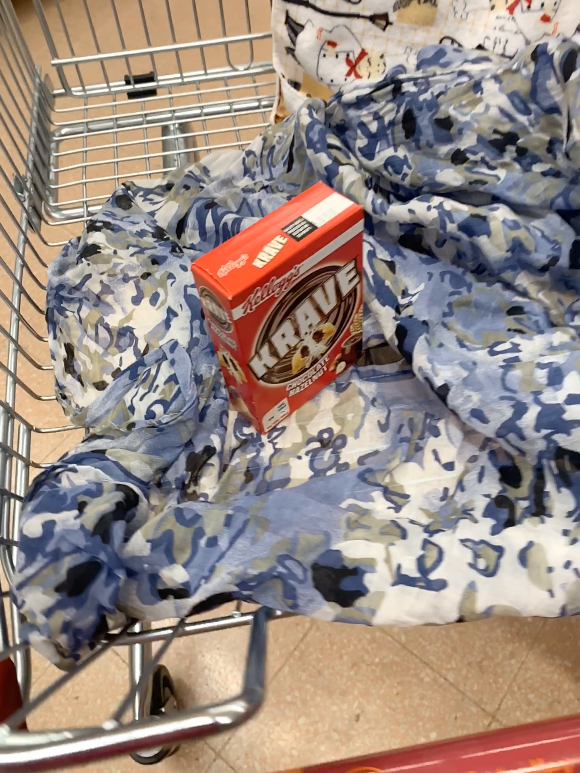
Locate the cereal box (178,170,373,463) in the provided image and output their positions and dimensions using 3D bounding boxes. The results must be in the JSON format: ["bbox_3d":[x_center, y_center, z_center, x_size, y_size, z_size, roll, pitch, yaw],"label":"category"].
[{"bbox_3d":[-0.001,-0.033,0.347,0.090,0.149,0.040,-38,59,-21],"label":"cereal box"}]
